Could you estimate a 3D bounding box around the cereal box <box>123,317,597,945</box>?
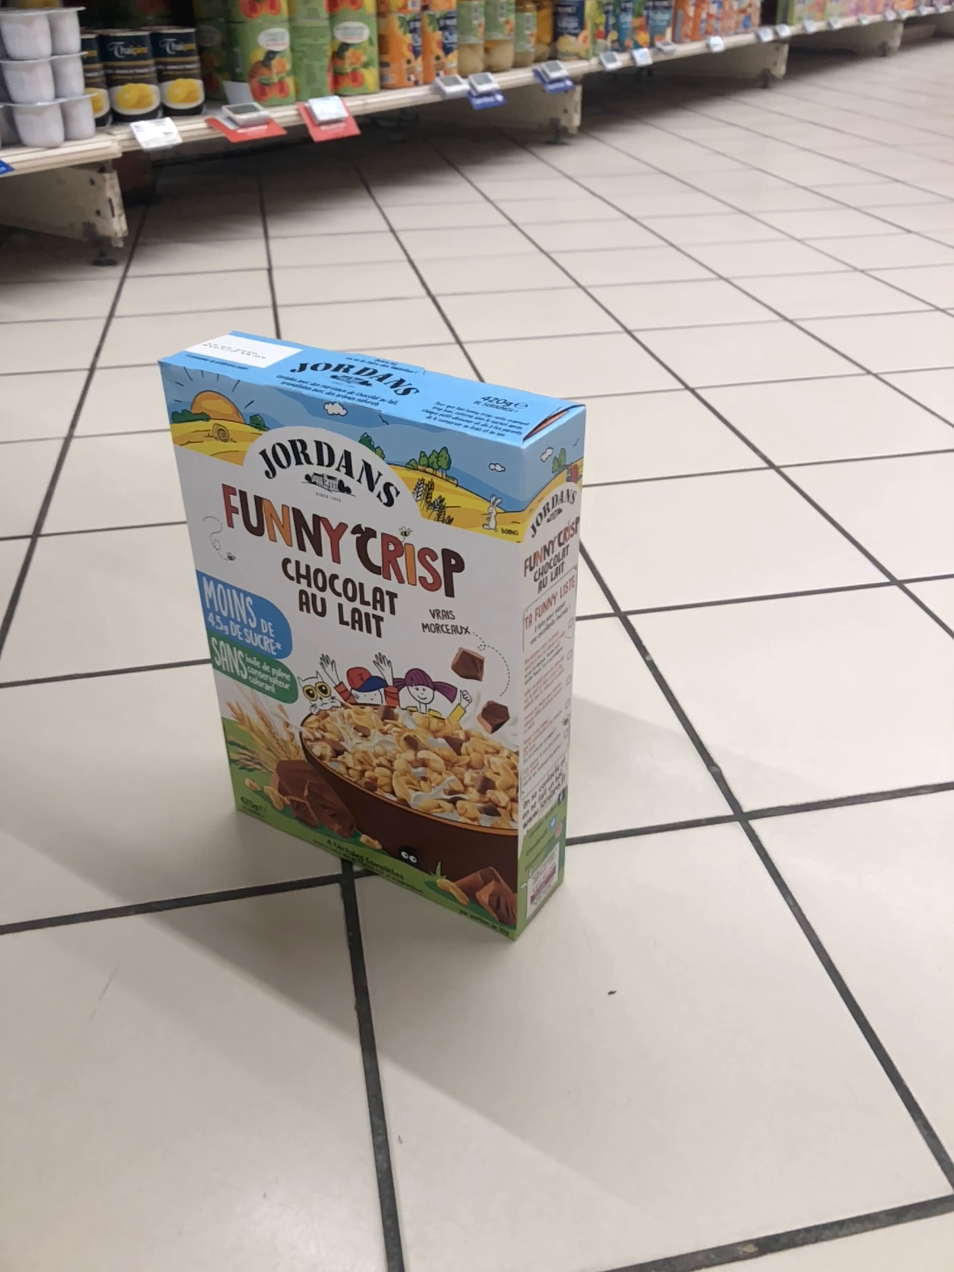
[{"bbox_3d":[-0.048,-0.003,0.457,0.180,0.229,0.060,19,37,28],"label":"cereal box"}]
